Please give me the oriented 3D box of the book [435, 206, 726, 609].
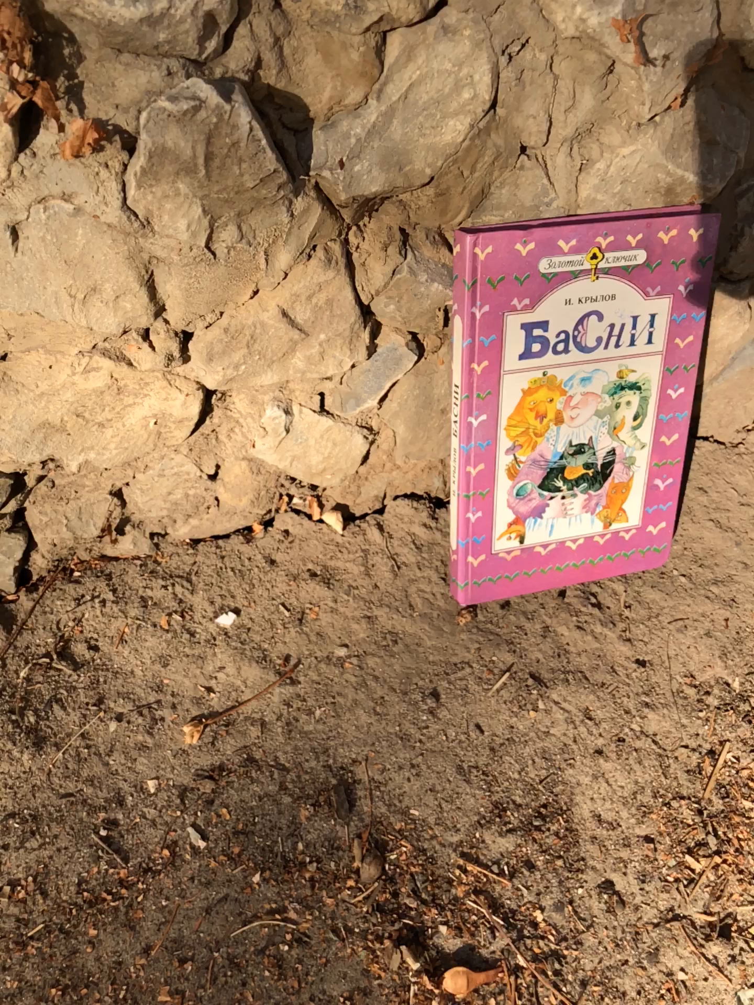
[{"bbox_3d":[0.103,-0.048,0.446,0.142,0.201,0.025,-9,27,-17],"label":"book"}]
